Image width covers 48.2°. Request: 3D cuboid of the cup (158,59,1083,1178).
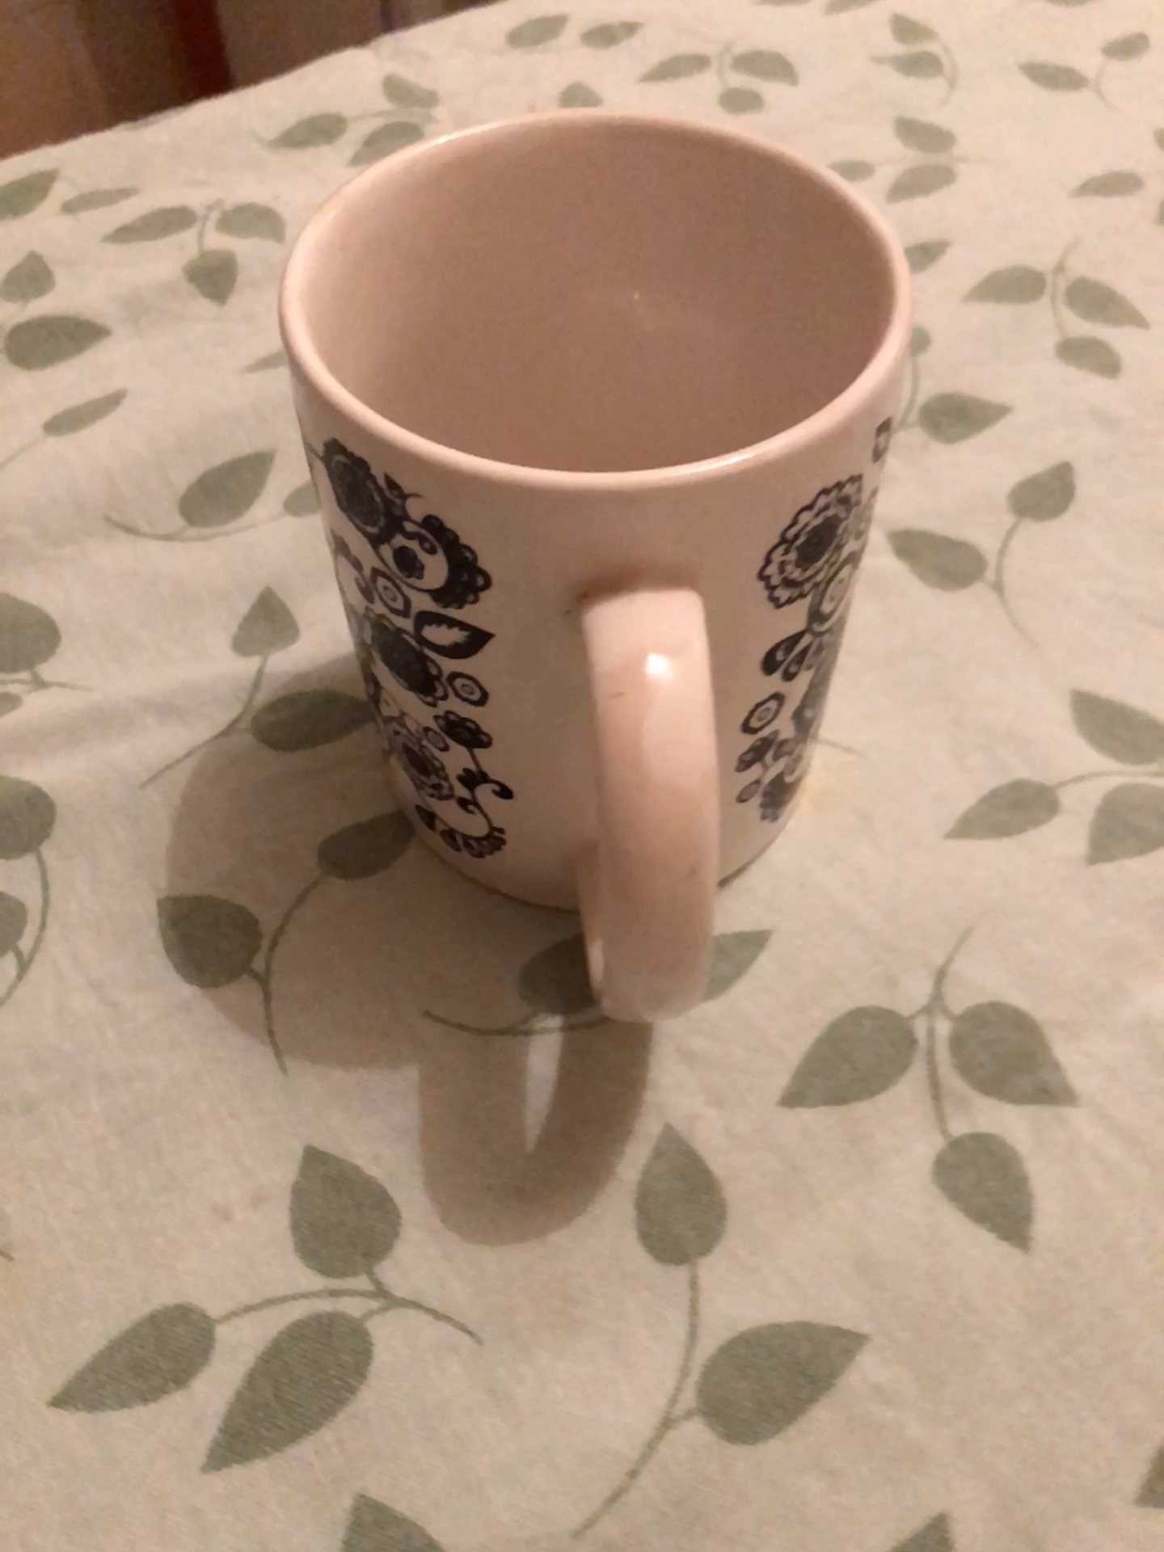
[{"bbox_3d":[0.000,-0.021,0.188,0.080,0.099,0.121,-3,55,-2],"label":"cup"}]
